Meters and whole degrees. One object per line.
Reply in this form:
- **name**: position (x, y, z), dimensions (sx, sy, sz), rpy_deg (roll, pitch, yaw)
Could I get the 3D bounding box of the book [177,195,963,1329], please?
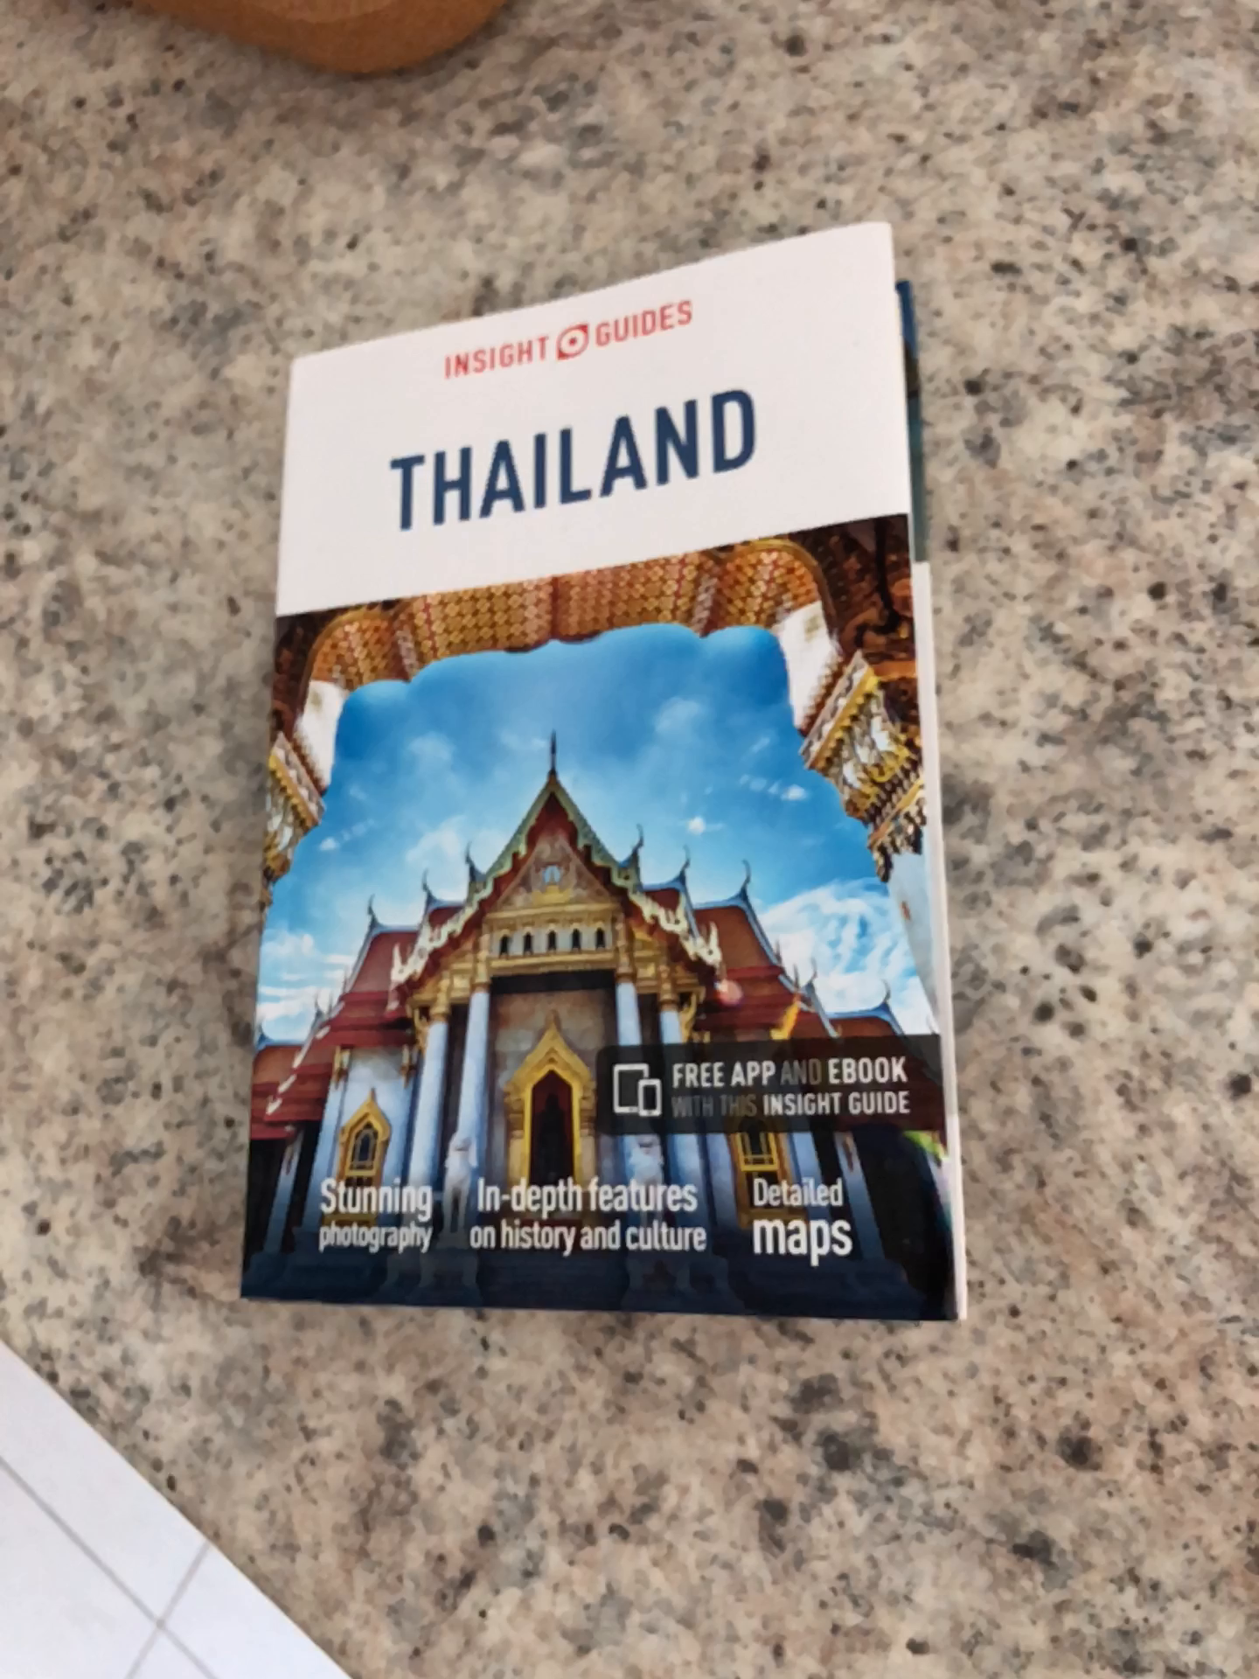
- **book**: position (-0.015, -0.017, 0.325), dimensions (0.164, 0.030, 0.240), rpy_deg (-6, 73, 20)
